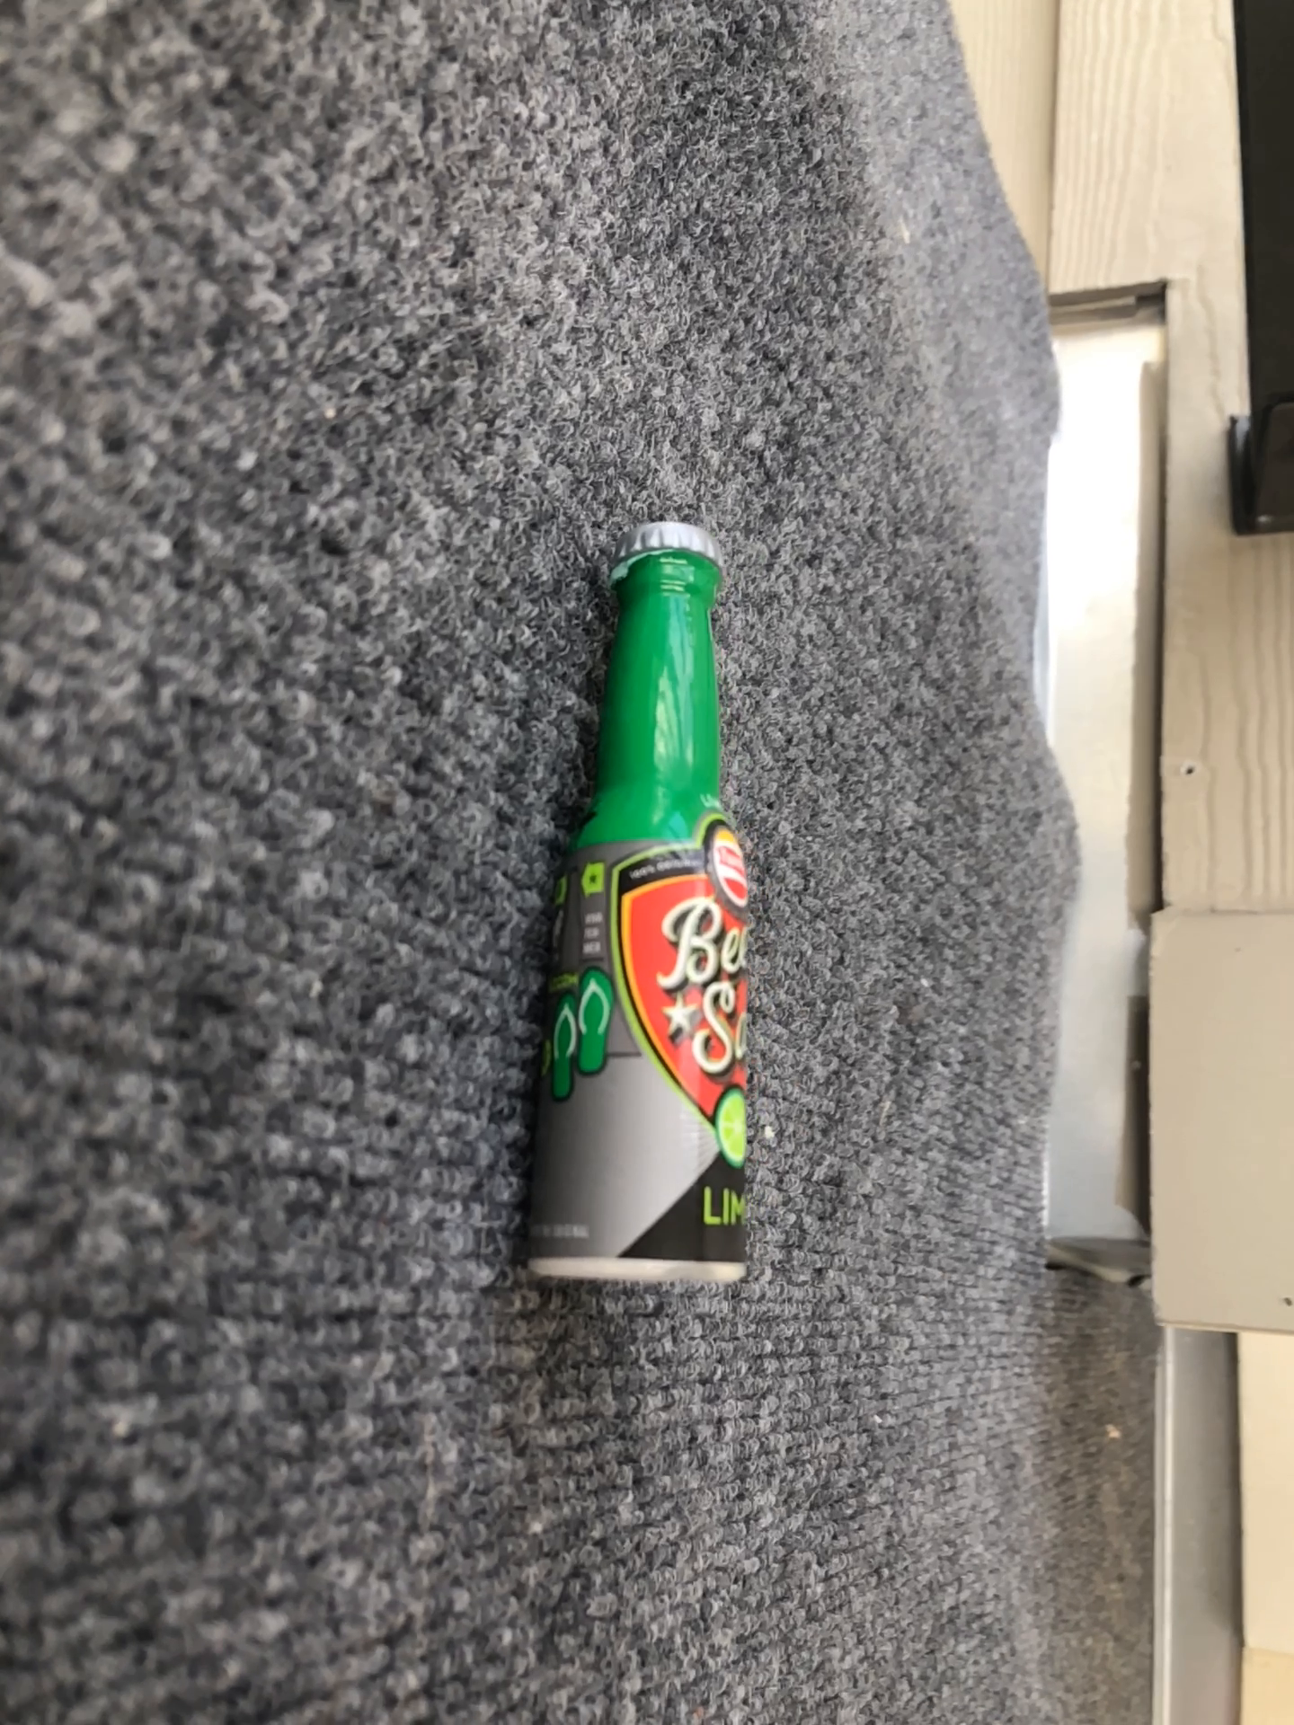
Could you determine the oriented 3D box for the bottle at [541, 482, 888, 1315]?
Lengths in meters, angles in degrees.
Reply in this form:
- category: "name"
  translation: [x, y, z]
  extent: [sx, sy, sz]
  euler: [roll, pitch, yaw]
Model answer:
- category: "bottle"
  translation: [0.012, 0.005, 0.191]
  extent: [0.033, 0.030, 0.101]
  euler: [33, 59, -62]
